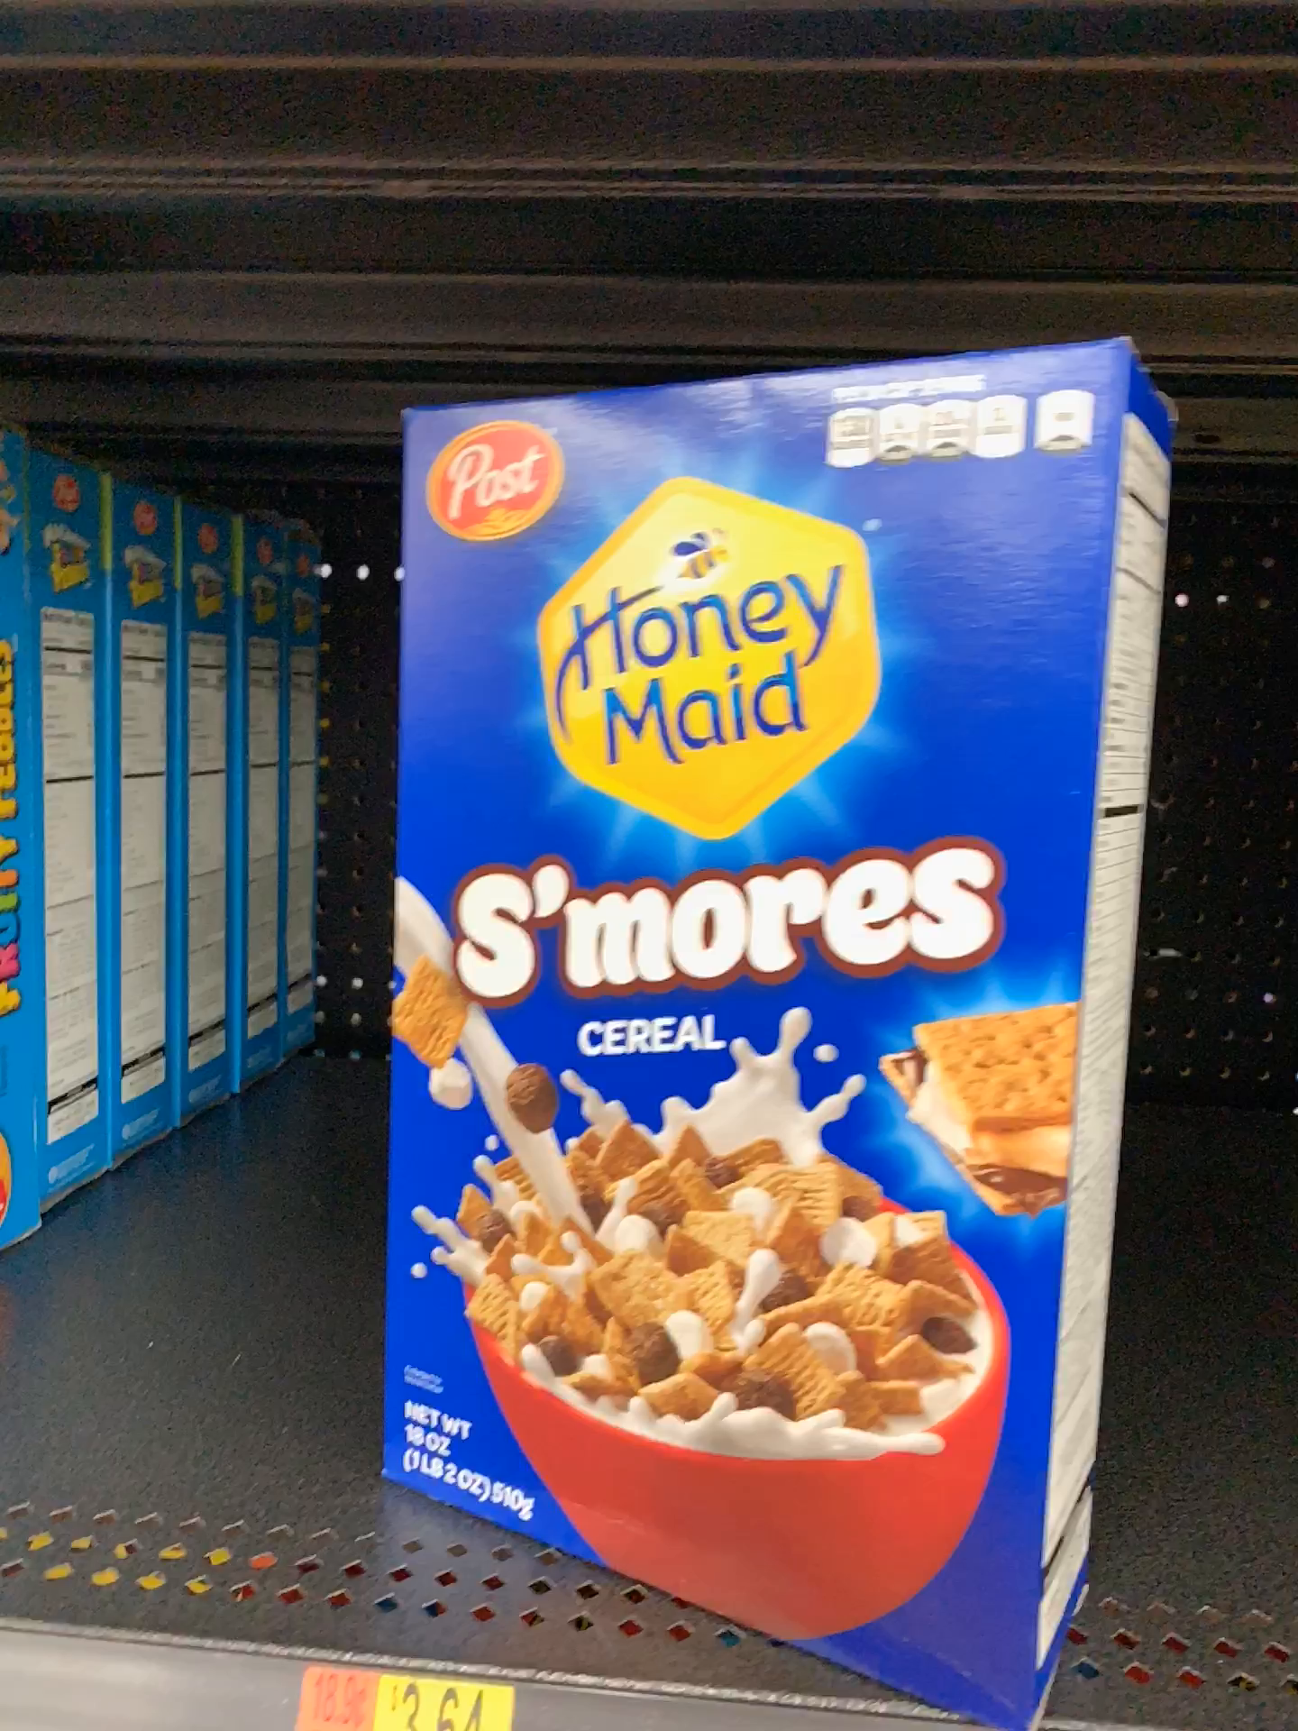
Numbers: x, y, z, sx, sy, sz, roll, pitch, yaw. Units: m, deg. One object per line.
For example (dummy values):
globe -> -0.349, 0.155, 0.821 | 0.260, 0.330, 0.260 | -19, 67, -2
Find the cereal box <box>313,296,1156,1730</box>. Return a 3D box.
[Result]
cereal box -> 0.014, 0.031, 0.366 | 0.200, 0.320, 0.070 | 6, 5, 29
